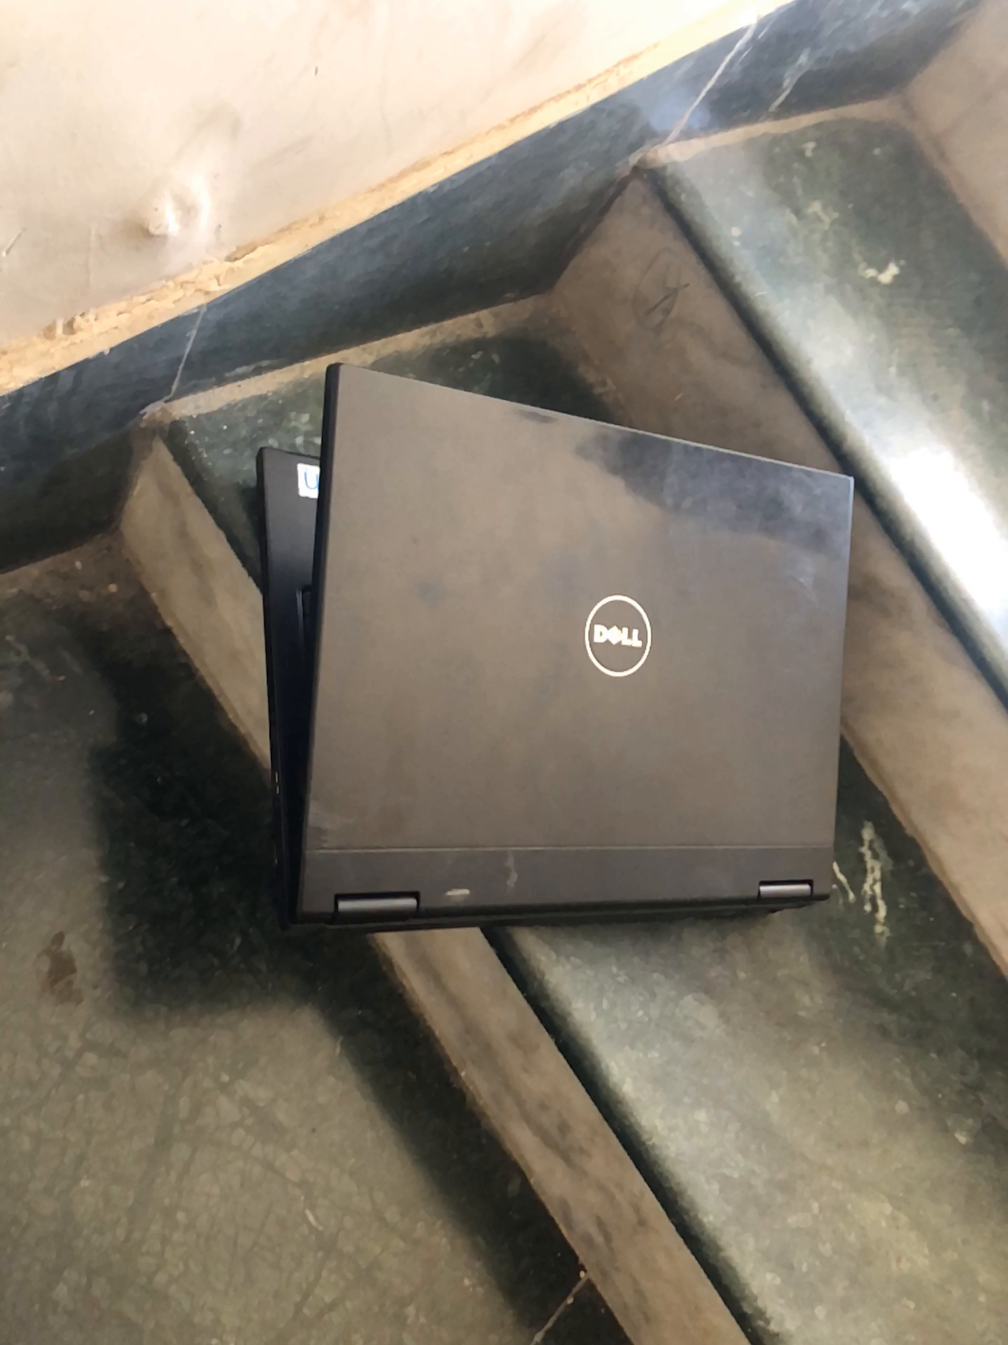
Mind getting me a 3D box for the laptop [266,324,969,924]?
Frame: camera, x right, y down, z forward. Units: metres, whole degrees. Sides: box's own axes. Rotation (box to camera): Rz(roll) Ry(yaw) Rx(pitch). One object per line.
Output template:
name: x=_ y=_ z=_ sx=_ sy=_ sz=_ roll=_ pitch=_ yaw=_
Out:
laptop: x=0.055 y=-0.010 z=0.541 sx=0.303 sy=0.095 sz=0.232 roll=5 pitch=66 yaw=-31
